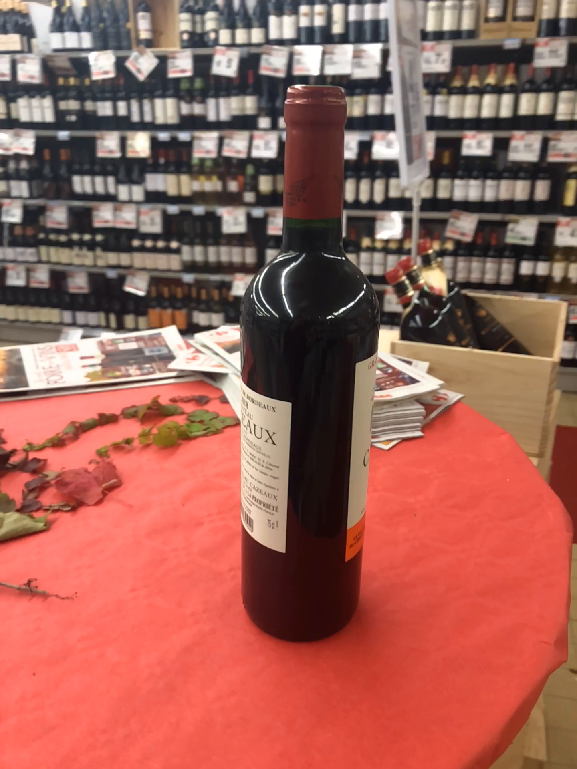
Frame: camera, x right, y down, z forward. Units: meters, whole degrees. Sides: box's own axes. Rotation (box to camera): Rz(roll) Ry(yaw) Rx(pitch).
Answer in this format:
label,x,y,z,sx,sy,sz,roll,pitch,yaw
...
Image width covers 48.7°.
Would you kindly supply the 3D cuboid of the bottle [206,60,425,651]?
label,x,y,z,sx,sy,sz,roll,pitch,yaw
bottle,0.009,-0.008,0.352,0.080,0.298,0.080,0,21,0
